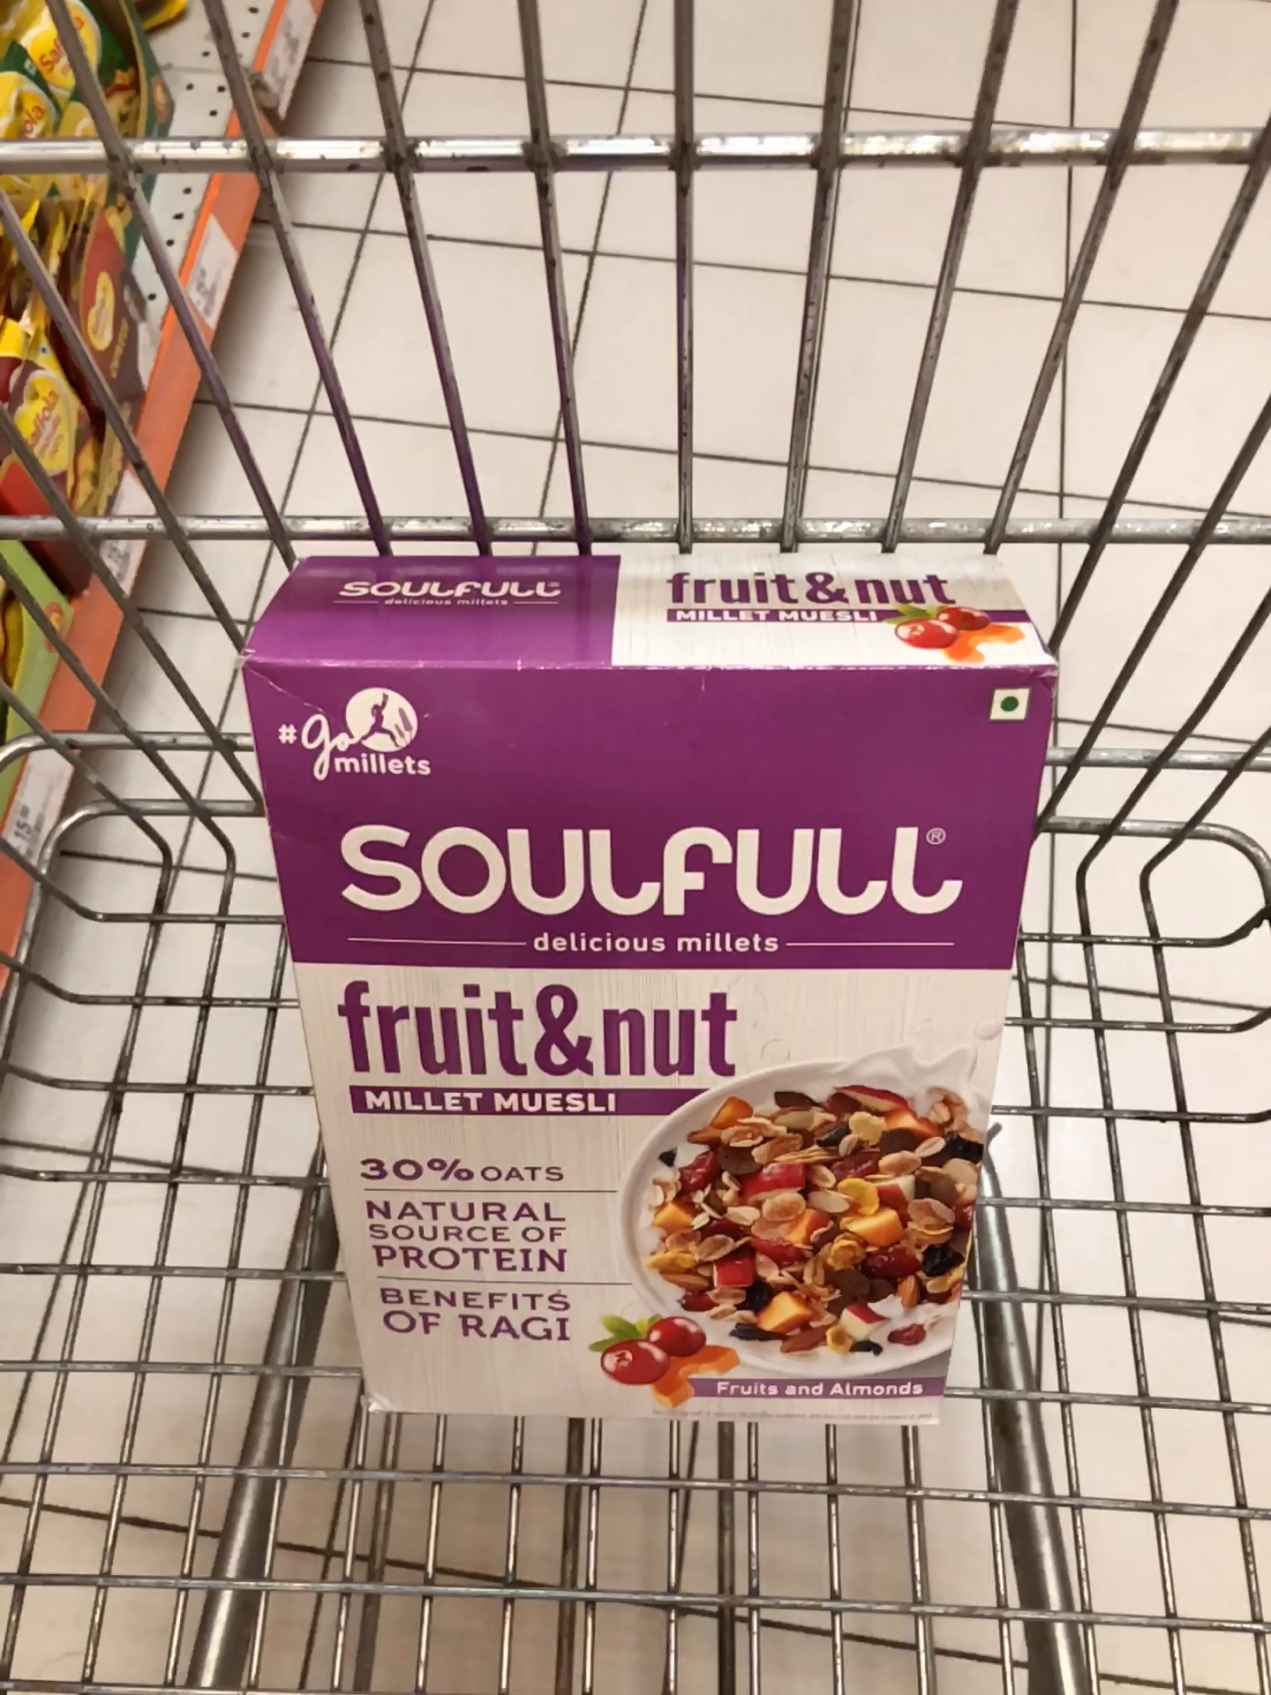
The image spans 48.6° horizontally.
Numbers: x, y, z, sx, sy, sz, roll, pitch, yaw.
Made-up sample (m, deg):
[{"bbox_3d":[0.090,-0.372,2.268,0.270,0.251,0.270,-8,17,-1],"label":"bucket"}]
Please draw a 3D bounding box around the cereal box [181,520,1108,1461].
[{"bbox_3d":[0.002,0.046,0.351,0.170,0.239,0.070,0,32,1],"label":"cereal box"}]
